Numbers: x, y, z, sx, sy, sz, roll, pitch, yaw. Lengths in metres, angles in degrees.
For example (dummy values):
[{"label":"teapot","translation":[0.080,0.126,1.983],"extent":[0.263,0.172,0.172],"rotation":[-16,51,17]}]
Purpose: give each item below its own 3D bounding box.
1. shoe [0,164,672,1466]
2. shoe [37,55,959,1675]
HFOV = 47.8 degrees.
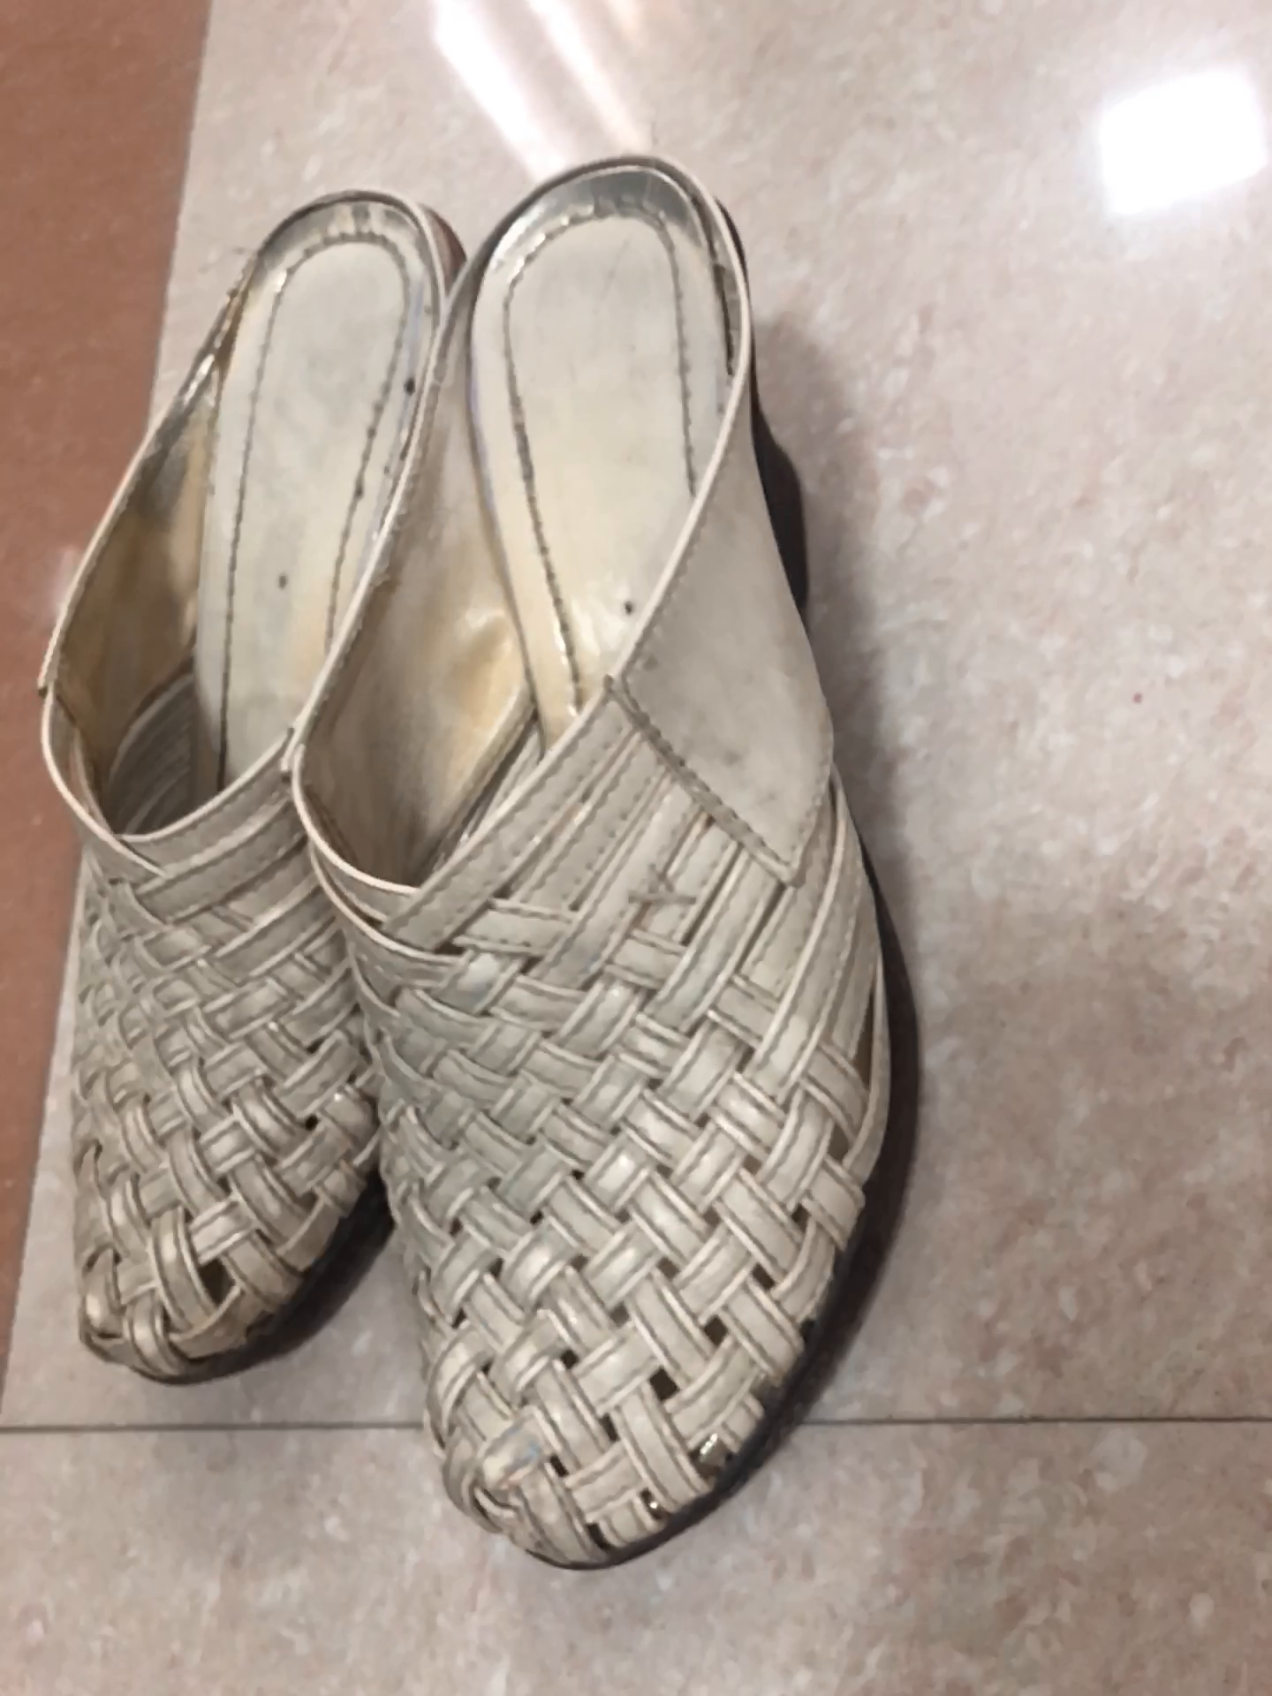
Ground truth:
[{"label":"shoe","translation":[-0.082,-0.008,0.291],"extent":[0.101,0.084,0.225],"rotation":[6,73,31]},{"label":"shoe","translation":[-0.007,-0.001,0.242],"extent":[0.100,0.084,0.221],"rotation":[-5,68,27]}]
